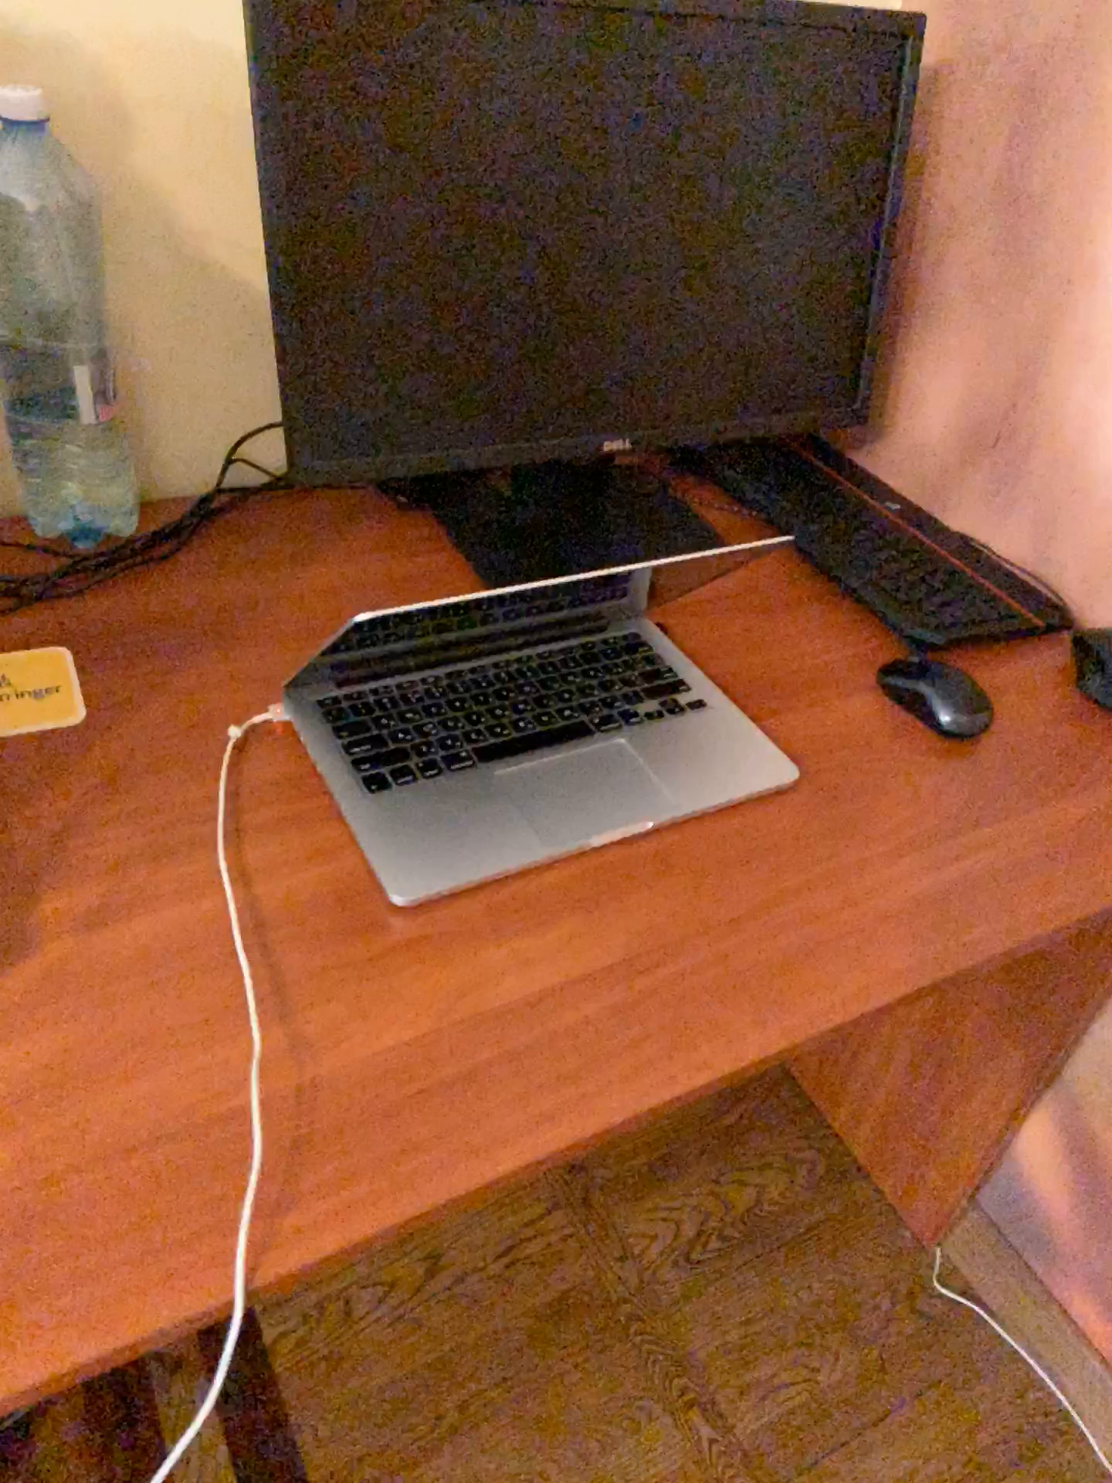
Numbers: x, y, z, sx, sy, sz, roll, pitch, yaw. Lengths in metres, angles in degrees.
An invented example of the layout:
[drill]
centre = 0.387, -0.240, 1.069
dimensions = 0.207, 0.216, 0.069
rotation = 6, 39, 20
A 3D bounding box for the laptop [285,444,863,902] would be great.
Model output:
[laptop]
centre = 0.002, -0.064, 0.735
dimensions = 0.303, 0.150, 0.208
rotation = -15, 44, -28
